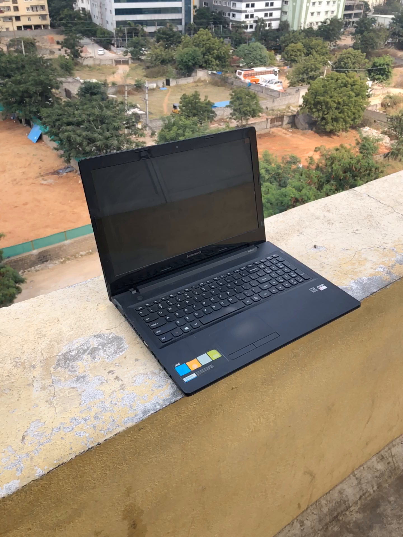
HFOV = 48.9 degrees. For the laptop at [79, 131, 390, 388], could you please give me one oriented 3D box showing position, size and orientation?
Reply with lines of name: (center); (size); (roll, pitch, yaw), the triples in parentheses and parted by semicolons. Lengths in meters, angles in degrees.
laptop: (0.043, -0.055, 0.766); (0.367, 0.229, 0.331); (-20, 40, -30)
